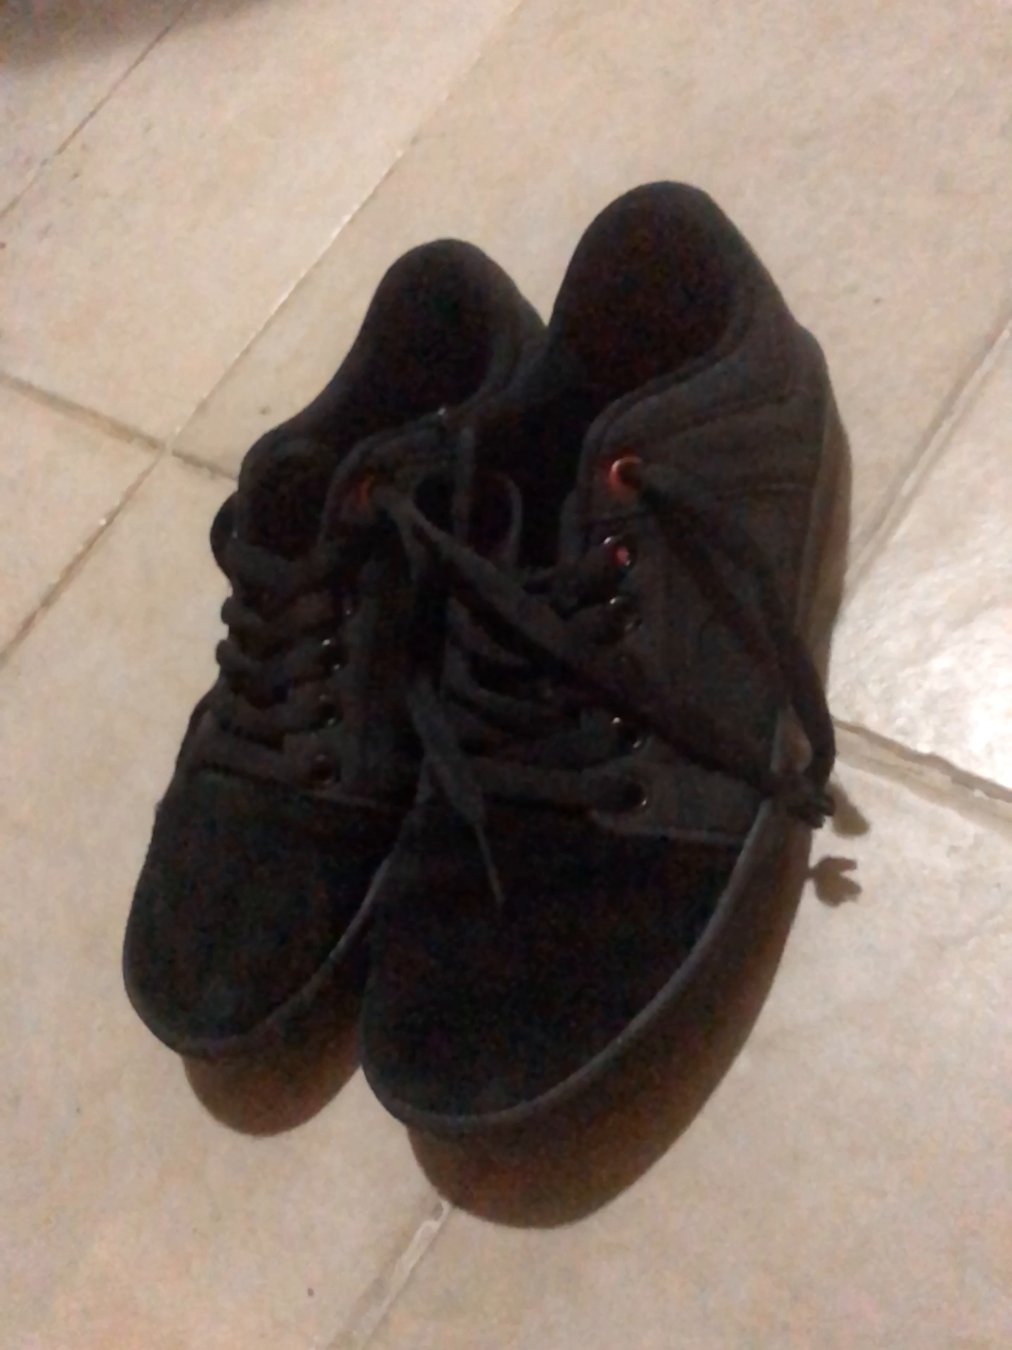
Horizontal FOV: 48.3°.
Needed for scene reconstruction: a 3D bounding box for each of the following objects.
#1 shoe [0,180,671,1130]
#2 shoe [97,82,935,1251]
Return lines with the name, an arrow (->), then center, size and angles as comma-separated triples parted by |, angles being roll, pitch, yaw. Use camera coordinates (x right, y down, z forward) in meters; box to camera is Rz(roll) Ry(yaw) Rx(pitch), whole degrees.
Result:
shoe -> -0.052, -0.014, 0.332 | 0.100, 0.099, 0.240 | 9, 66, 34
shoe -> 0.023, -0.010, 0.276 | 0.100, 0.099, 0.240 | 6, 64, 33
